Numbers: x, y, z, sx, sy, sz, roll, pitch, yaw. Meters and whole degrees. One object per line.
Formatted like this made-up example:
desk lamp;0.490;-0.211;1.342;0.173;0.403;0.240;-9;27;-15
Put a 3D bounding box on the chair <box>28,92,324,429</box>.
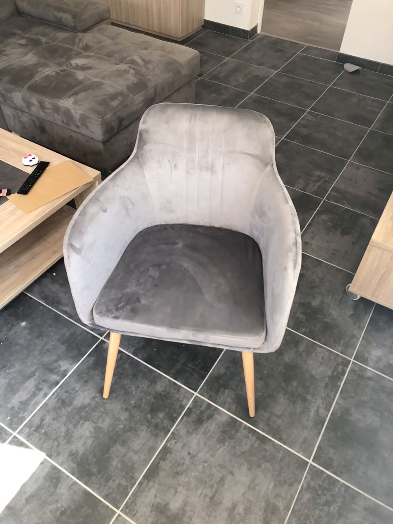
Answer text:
chair;-0.016;0.026;1.342;0.590;0.825;0.583;7;47;5
